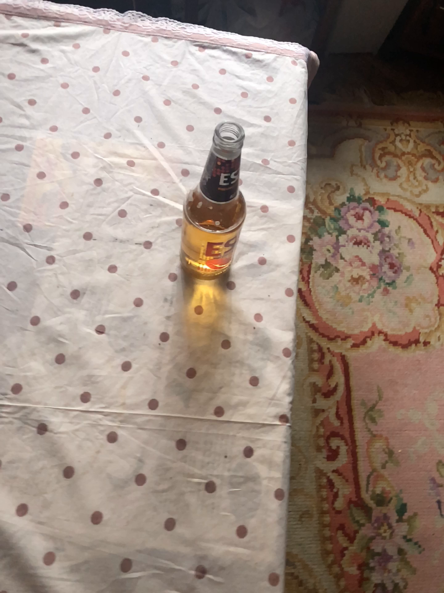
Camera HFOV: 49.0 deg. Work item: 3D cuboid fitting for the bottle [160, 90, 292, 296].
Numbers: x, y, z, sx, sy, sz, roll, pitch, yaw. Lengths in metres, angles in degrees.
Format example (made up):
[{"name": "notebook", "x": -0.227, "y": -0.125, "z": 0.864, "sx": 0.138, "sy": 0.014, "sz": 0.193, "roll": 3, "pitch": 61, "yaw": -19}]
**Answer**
[{"name": "bottle", "x": -0.005, "y": -0.093, "z": 0.512, "sx": 0.080, "sy": 0.209, "sz": 0.080, "roll": 2, "pitch": 67, "yaw": -5}]
